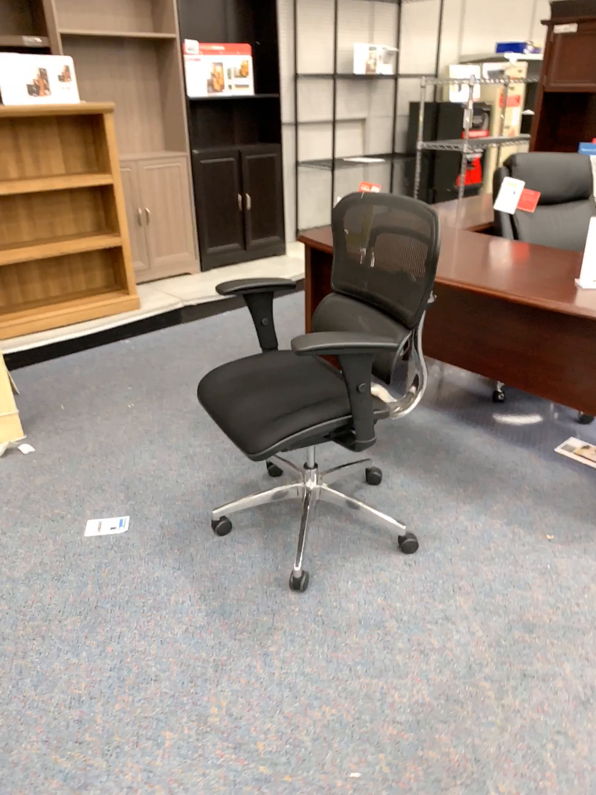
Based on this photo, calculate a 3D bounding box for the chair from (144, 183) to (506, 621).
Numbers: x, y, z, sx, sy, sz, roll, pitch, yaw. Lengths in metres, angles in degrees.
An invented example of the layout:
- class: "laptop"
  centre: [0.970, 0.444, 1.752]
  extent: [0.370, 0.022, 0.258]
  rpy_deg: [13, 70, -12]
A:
- class: "chair"
  centre: [0.049, -0.061, 1.838]
  extent: [0.685, 0.983, 0.699]
  rpy_deg: [-17, 31, -29]
